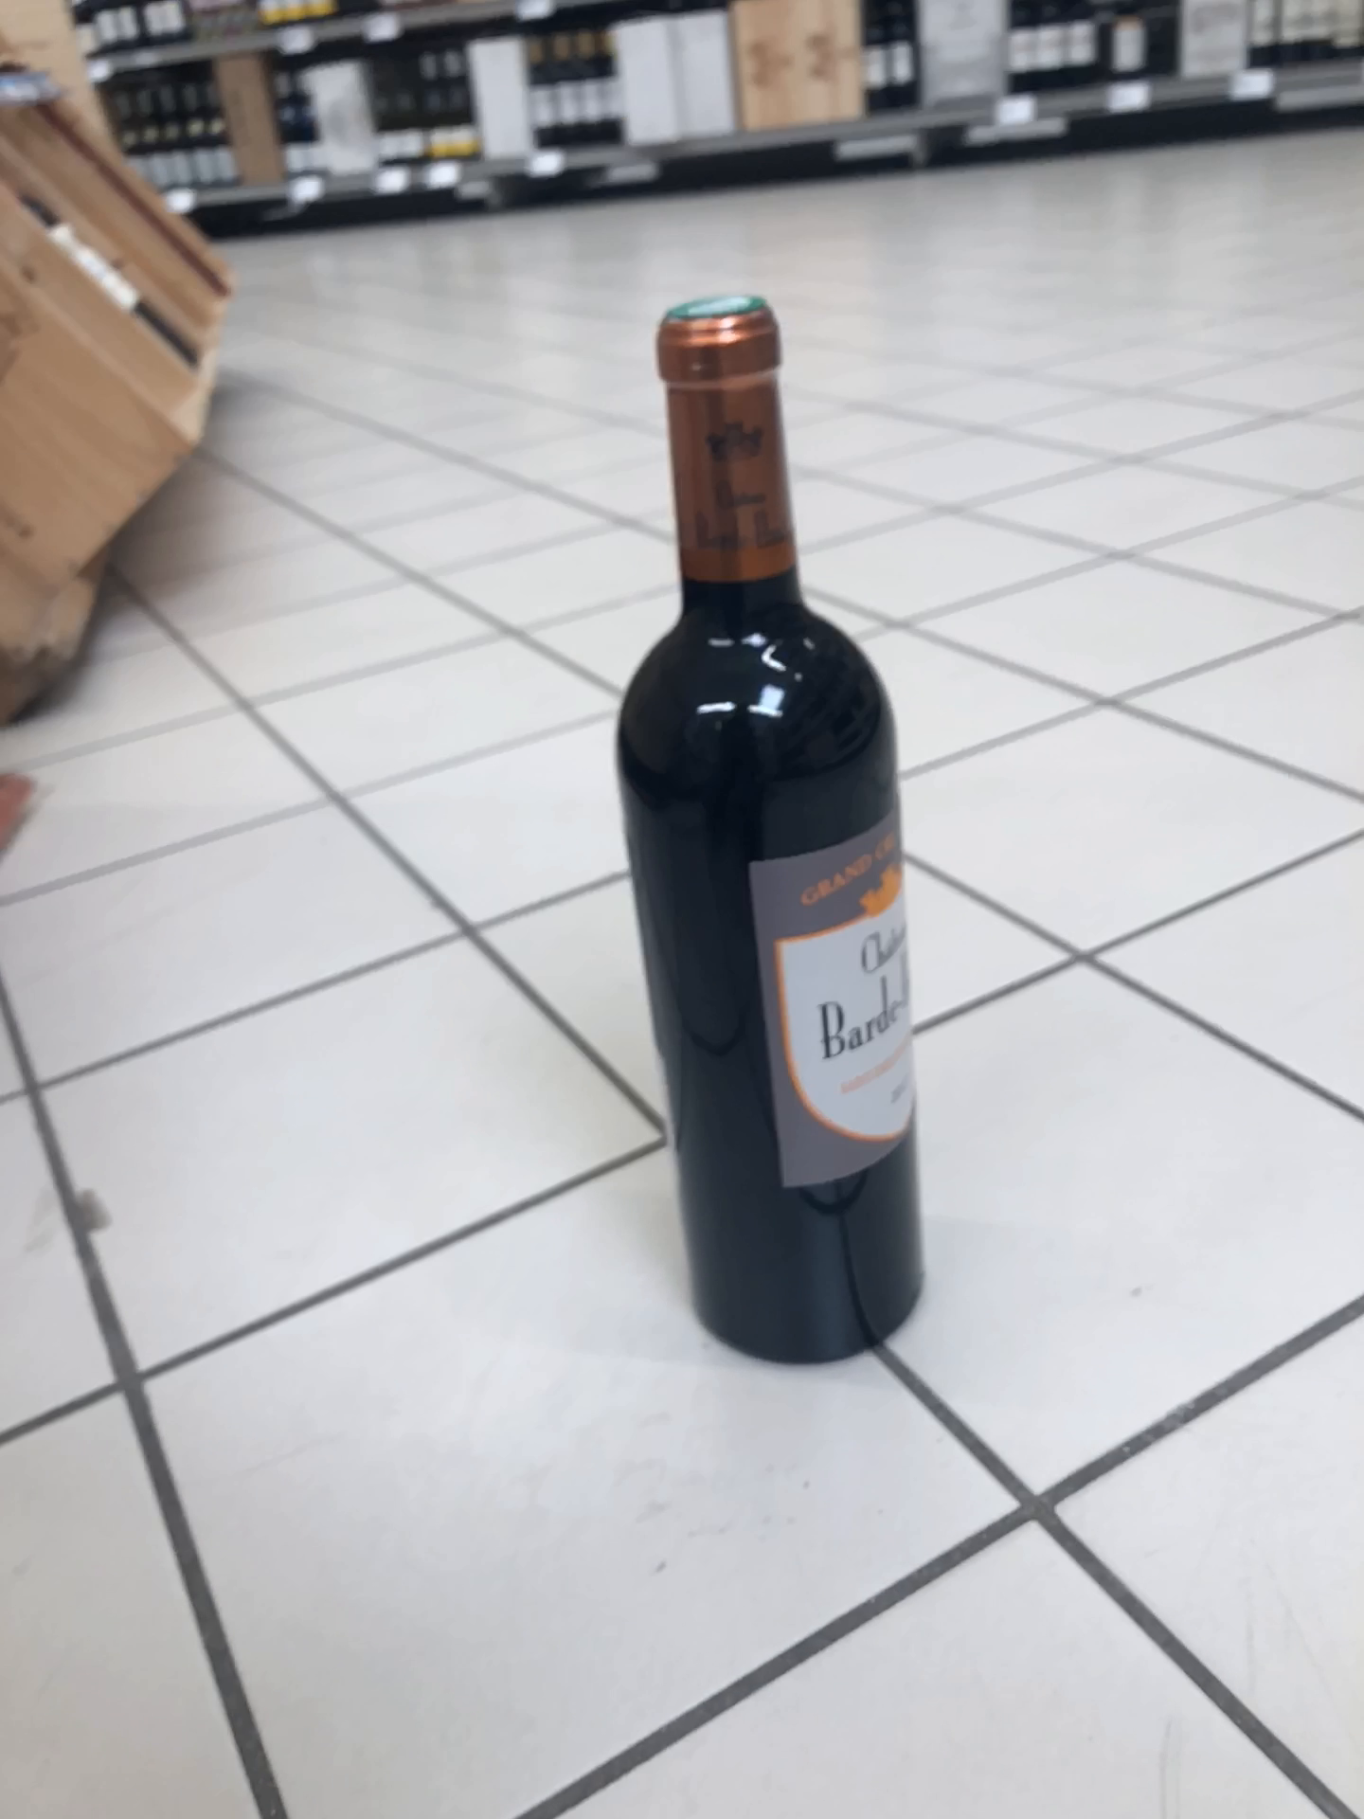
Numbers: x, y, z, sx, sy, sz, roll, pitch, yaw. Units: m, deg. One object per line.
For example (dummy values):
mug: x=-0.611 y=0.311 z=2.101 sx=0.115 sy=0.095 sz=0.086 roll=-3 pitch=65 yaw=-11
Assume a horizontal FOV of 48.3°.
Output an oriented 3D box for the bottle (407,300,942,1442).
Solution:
bottle: x=0.011 y=-0.003 z=0.409 sx=0.080 sy=0.288 sz=0.080 roll=-6 pitch=28 yaw=3
